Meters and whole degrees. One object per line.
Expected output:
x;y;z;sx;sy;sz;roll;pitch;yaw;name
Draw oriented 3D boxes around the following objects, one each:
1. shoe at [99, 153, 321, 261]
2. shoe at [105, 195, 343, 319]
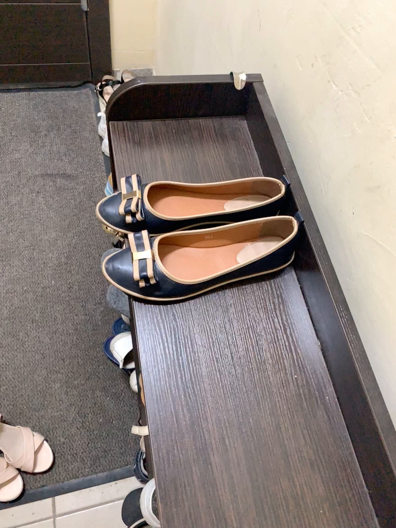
0.009;-0.082;0.571;0.280;0.100;0.100;-4;57;-11;shoe
0.026;-0.012;0.538;0.280;0.100;0.100;-6;57;-12;shoe
